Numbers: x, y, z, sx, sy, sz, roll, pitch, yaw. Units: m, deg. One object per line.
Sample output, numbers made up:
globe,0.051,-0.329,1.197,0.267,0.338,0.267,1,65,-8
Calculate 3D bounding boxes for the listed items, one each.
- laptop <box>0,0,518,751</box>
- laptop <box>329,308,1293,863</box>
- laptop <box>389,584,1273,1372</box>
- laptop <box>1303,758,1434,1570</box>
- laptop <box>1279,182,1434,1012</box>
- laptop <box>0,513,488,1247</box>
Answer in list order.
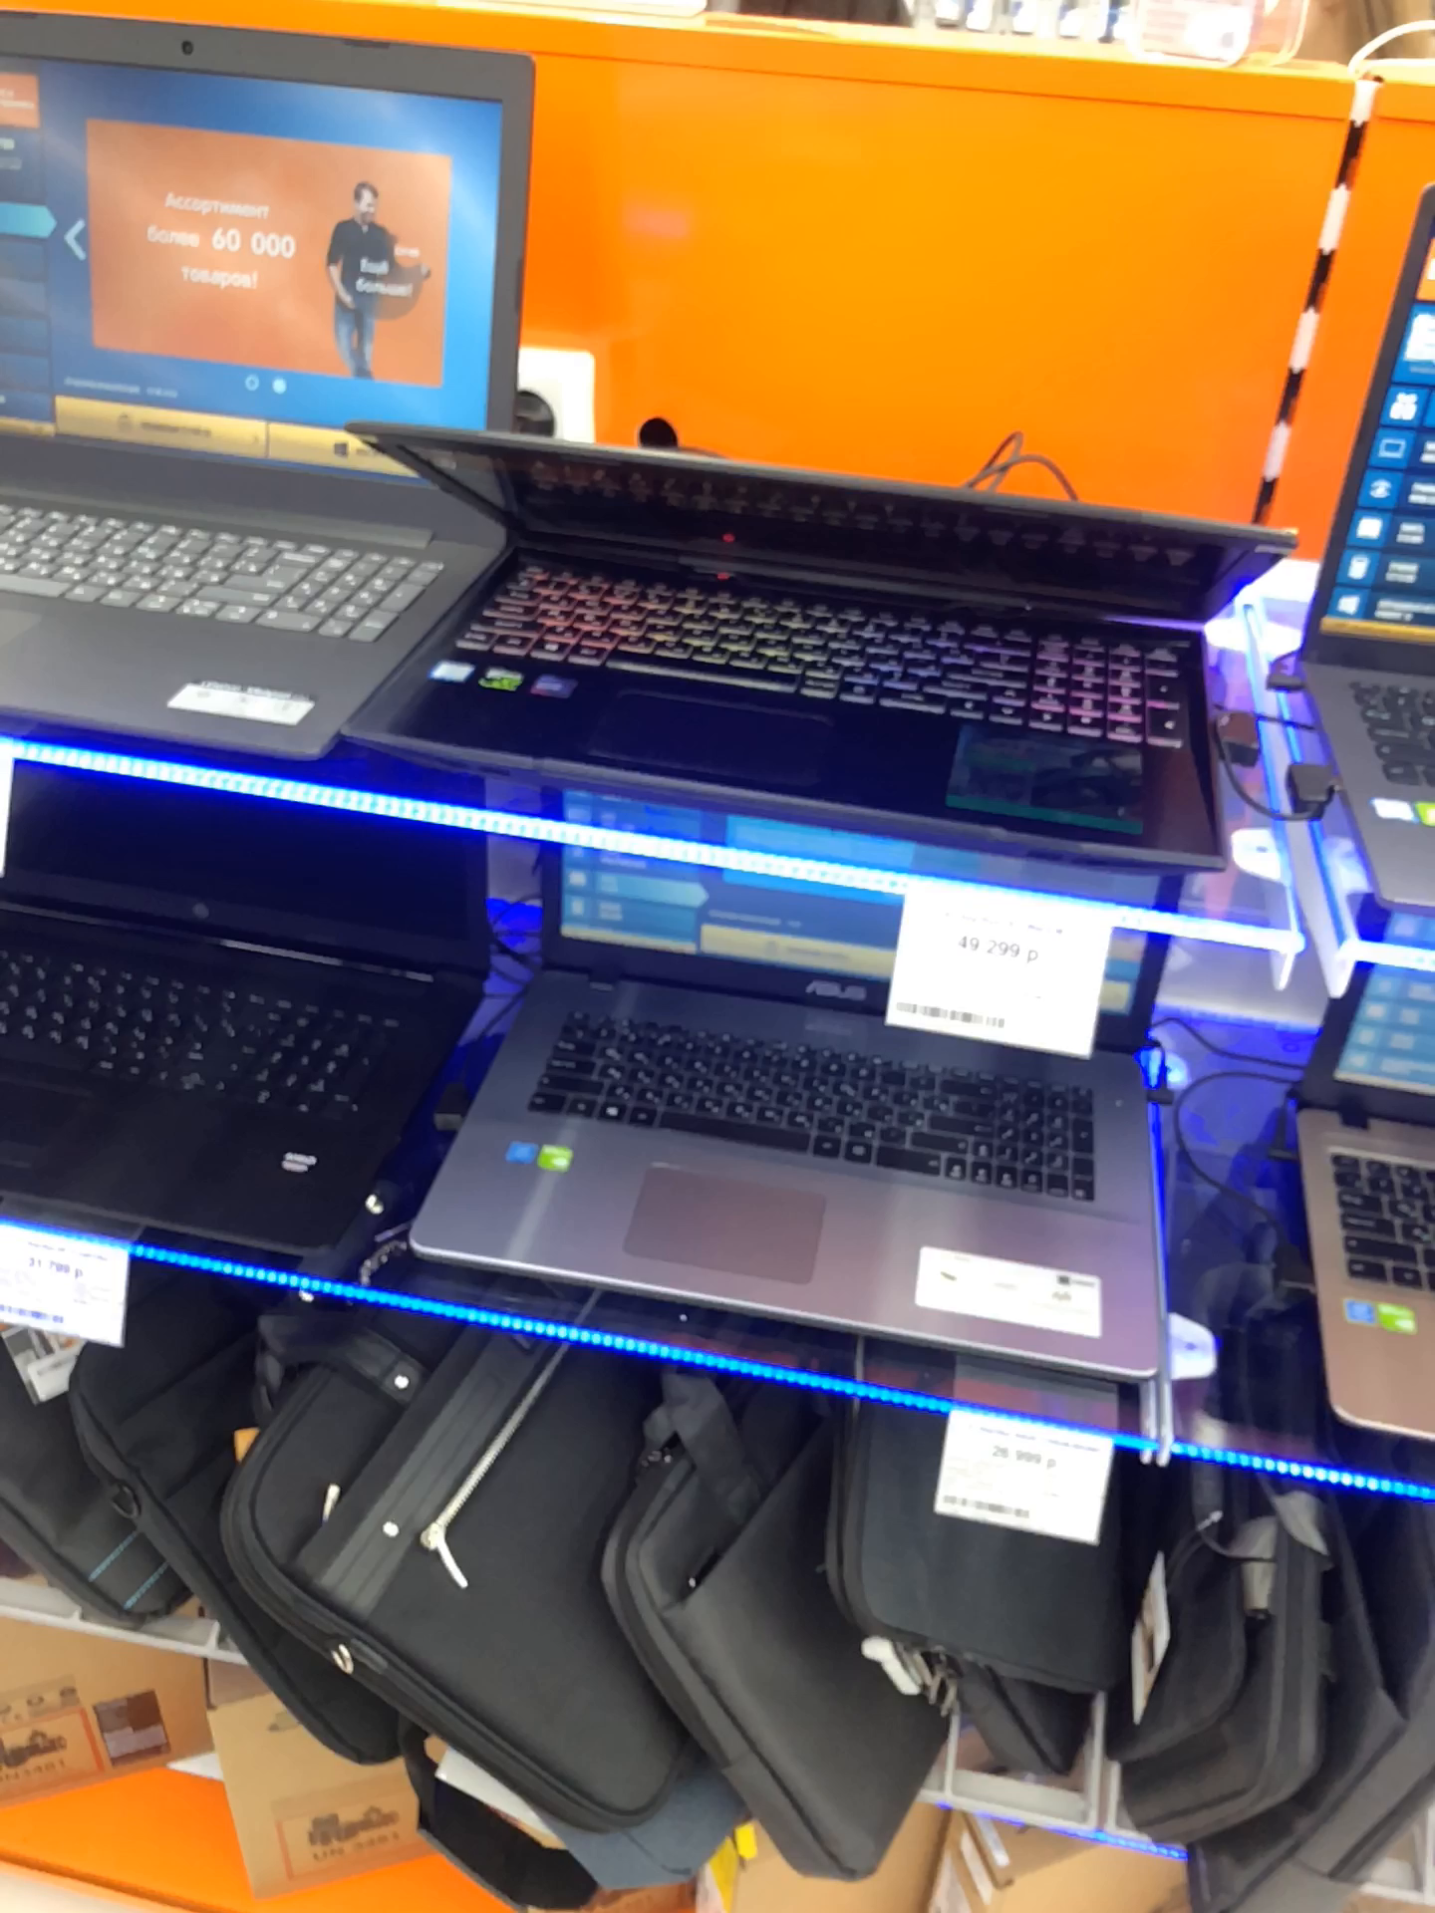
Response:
laptop,-0.310,-0.303,0.769,0.358,0.228,0.319,9,34,7
laptop,0.050,-0.184,0.724,0.364,0.121,0.244,9,35,7
laptop,0.068,-0.005,0.885,0.394,0.256,0.288,9,35,8
laptop,0.516,0.088,0.782,0.359,0.240,0.231,8,35,9
laptop,0.463,-0.160,0.639,0.352,0.216,0.232,6,34,5
laptop,-0.379,-0.059,0.922,0.406,0.270,0.274,10,33,8
